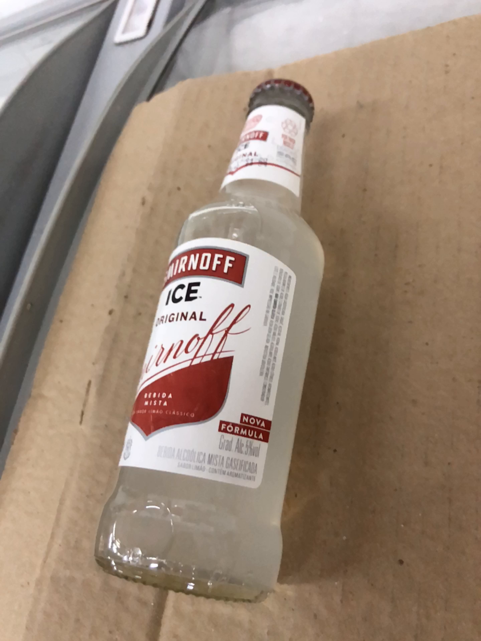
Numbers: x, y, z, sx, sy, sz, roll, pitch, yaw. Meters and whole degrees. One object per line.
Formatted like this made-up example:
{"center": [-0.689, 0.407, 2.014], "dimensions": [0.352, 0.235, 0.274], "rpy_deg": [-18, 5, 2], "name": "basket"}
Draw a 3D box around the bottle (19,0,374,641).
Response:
{"center": [-0.003, -0.011, 0.193], "dimensions": [0.070, 0.050, 0.210], "rpy_deg": [-1, 67, 29], "name": "bottle"}
